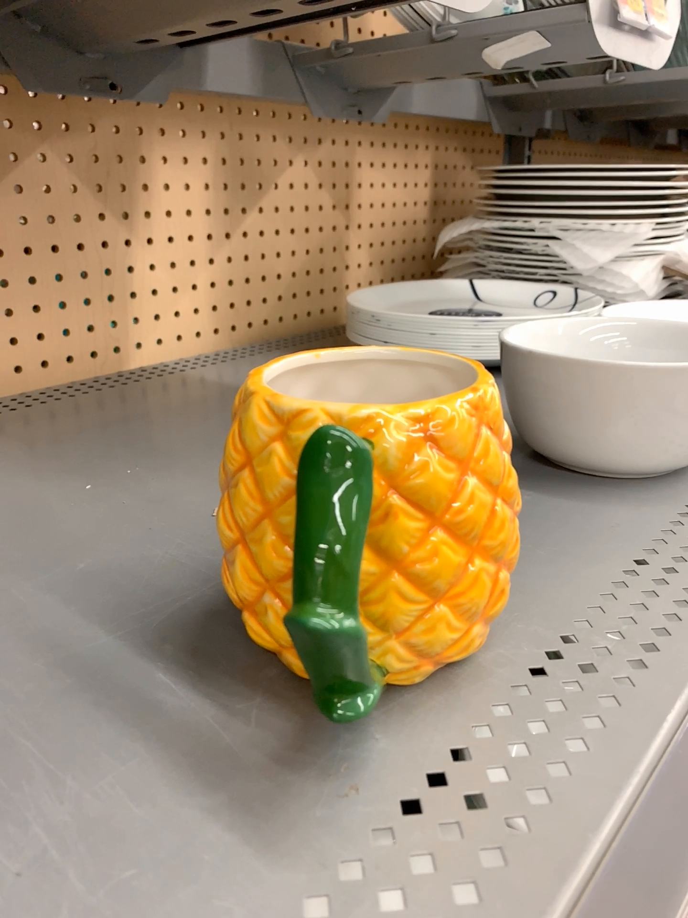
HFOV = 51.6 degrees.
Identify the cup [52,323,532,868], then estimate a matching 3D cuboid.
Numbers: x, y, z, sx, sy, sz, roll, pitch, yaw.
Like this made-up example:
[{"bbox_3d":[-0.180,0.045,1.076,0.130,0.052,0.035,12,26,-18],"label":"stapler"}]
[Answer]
[{"bbox_3d":[0.004,0.020,0.240,0.100,0.100,0.161,5,21,16],"label":"cup"}]
